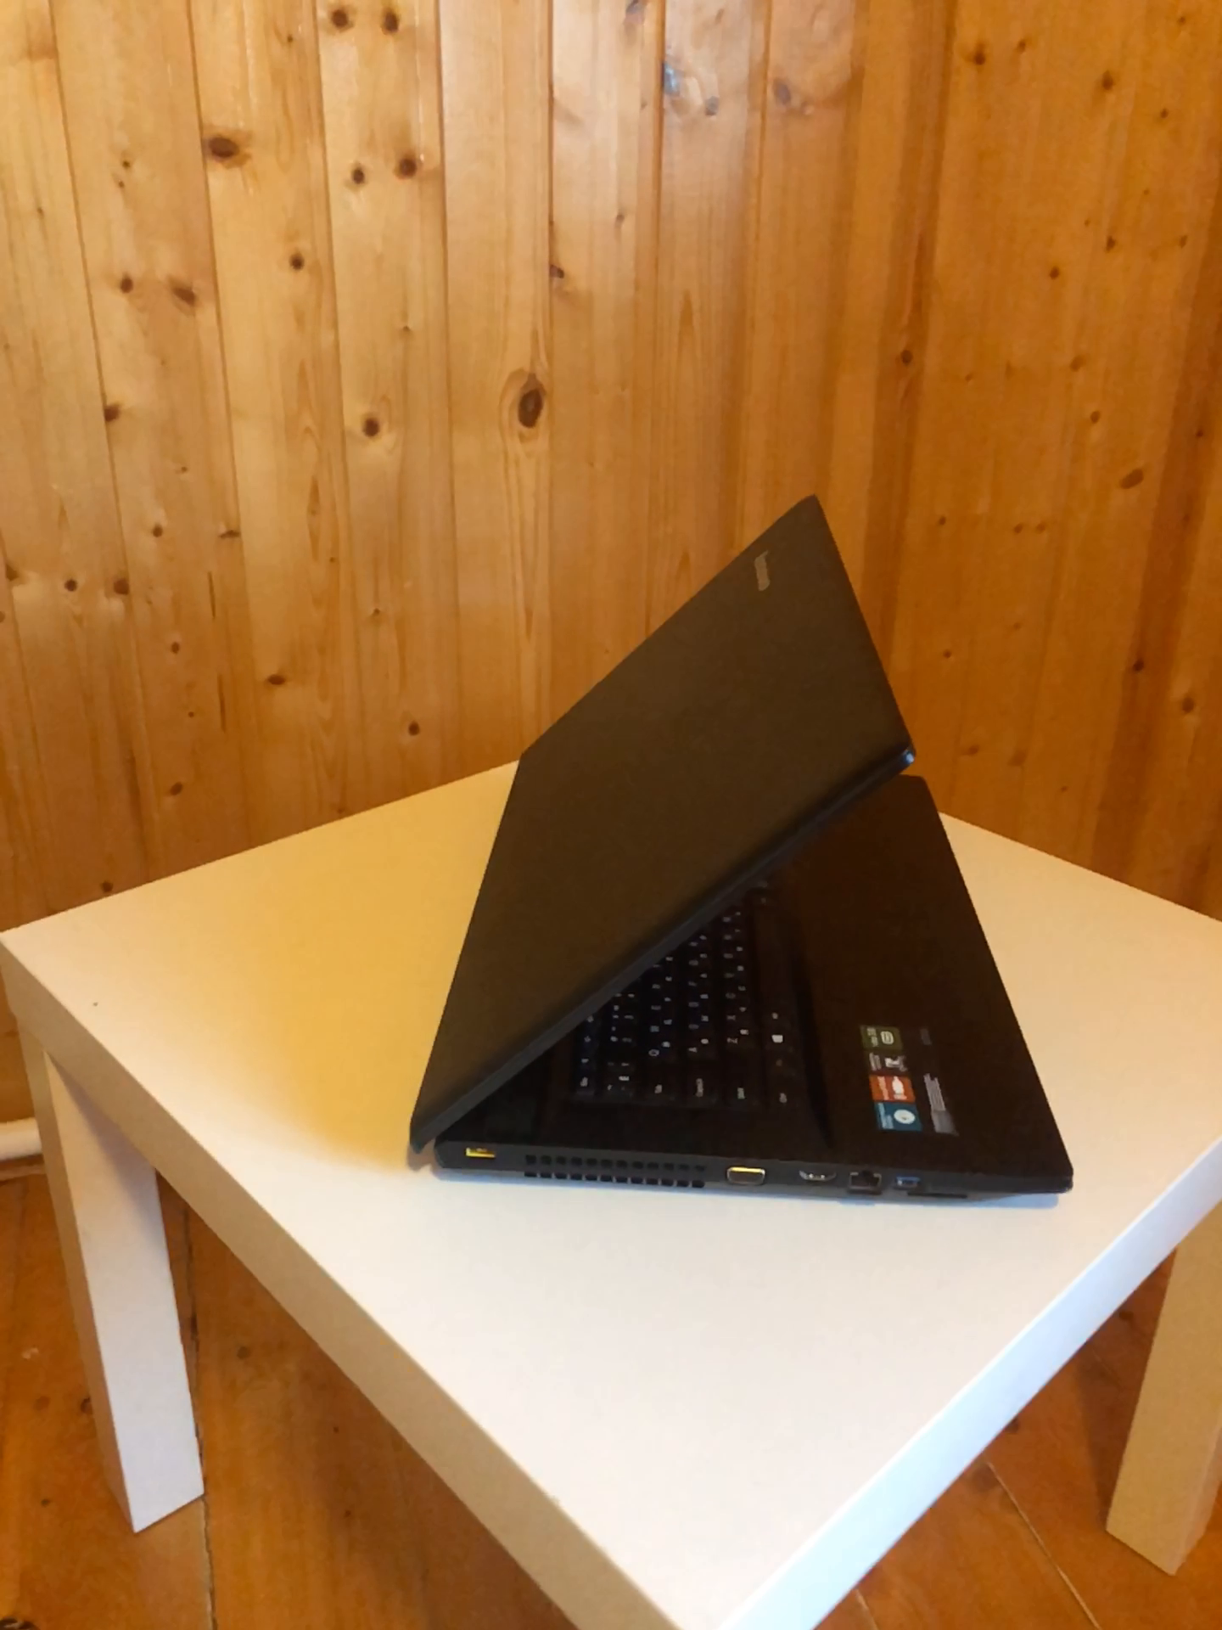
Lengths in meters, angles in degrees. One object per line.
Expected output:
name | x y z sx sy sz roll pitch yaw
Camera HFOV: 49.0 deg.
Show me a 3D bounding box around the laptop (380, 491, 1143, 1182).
laptop | 0.064 -0.028 0.702 0.271 0.184 0.412 2 25 3
